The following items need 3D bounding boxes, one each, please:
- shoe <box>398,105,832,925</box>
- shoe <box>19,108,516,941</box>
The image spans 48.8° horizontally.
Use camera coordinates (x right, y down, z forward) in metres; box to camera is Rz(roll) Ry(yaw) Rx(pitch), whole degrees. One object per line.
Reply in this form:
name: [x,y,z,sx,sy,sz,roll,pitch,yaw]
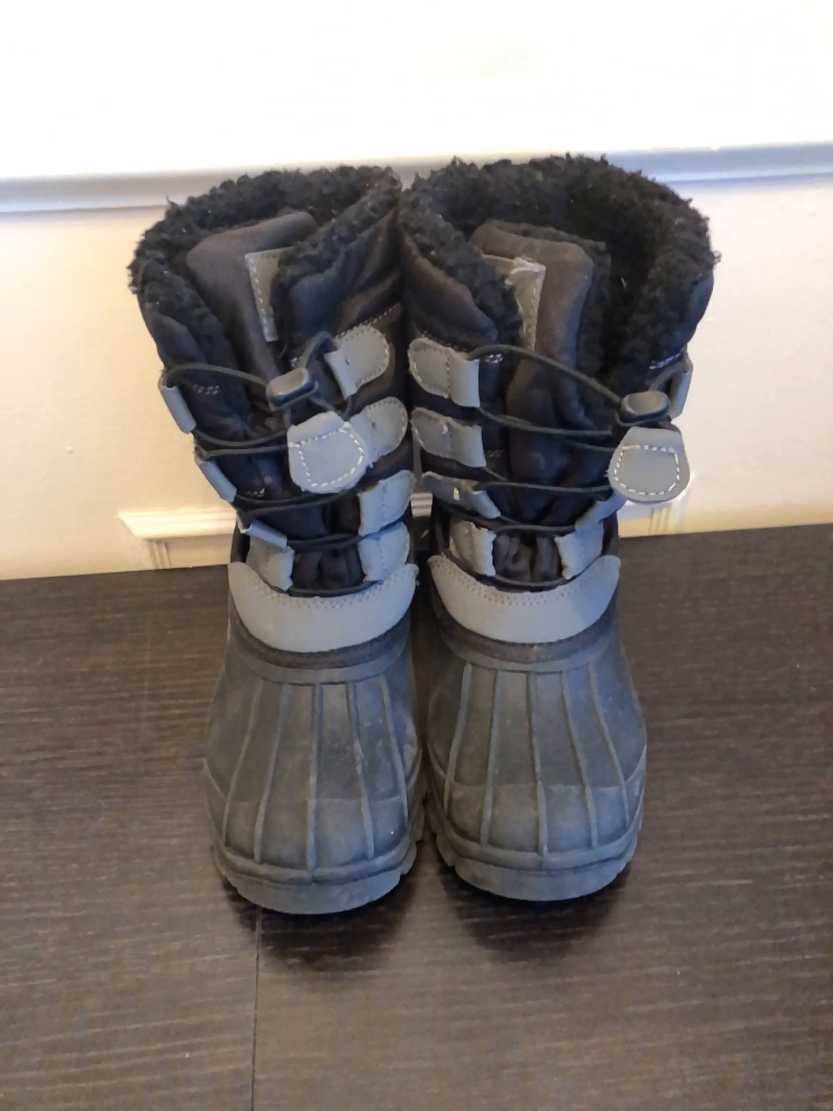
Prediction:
shoe: [0.050,-0.024,0.341,0.100,0.208,0.222,-3,40,-2]
shoe: [-0.035,-0.020,0.337,0.100,0.208,0.222,-3,40,-2]
